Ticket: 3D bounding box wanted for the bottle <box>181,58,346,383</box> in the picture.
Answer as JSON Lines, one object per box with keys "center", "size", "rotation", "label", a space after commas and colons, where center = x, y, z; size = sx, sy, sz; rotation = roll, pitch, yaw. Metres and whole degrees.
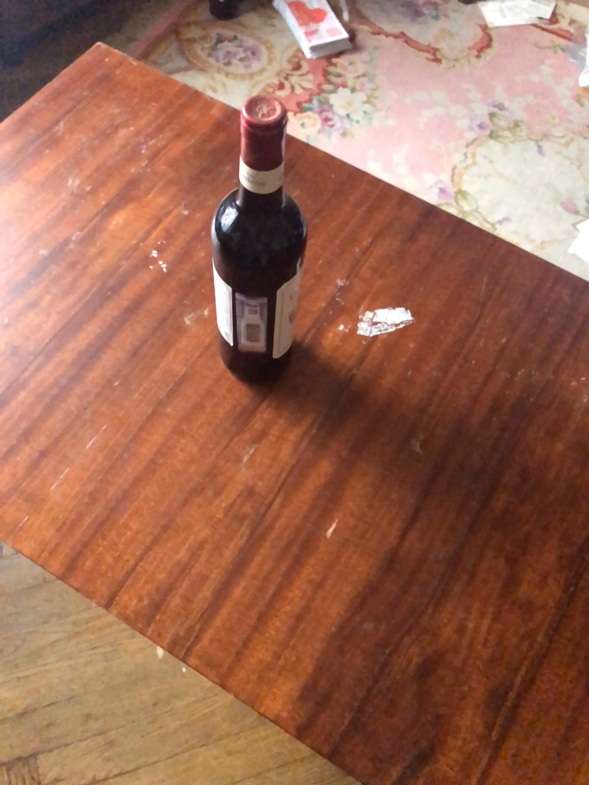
{"center": [-0.028, -0.110, 0.508], "size": [0.090, 0.269, 0.090], "rotation": [1, 65, -3], "label": "bottle"}
